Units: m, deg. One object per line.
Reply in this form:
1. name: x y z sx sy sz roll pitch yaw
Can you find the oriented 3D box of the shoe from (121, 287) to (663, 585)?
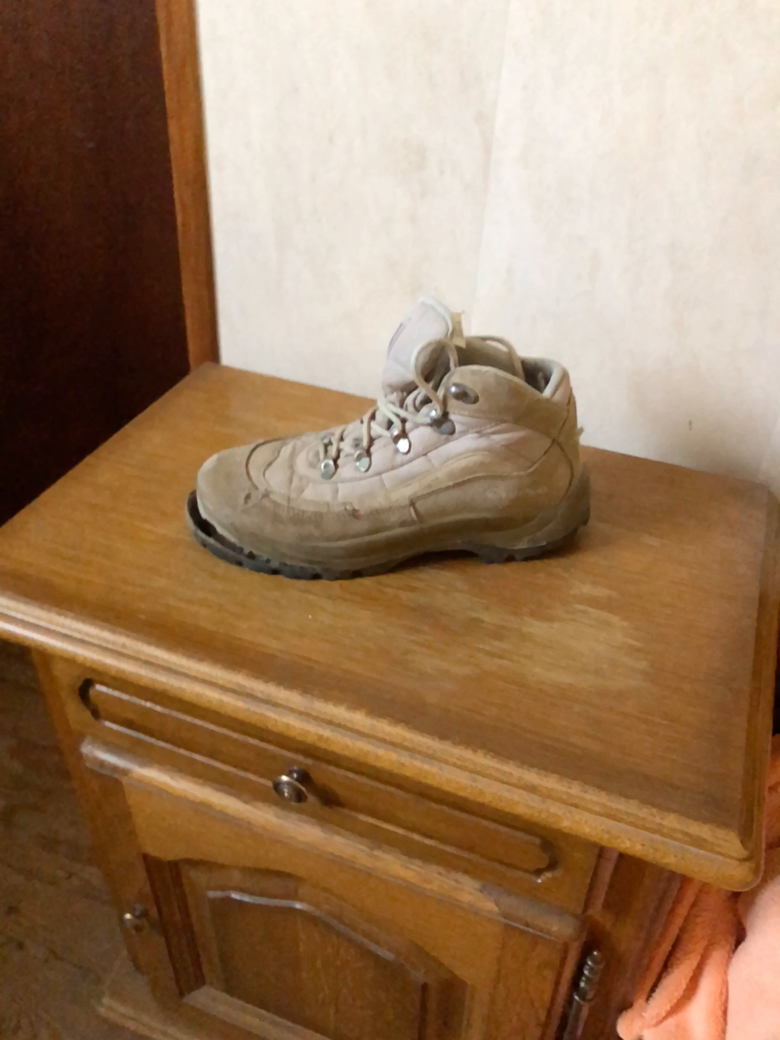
1. shoe: -0.002 -0.055 0.553 0.290 0.139 0.131 0 37 -5
